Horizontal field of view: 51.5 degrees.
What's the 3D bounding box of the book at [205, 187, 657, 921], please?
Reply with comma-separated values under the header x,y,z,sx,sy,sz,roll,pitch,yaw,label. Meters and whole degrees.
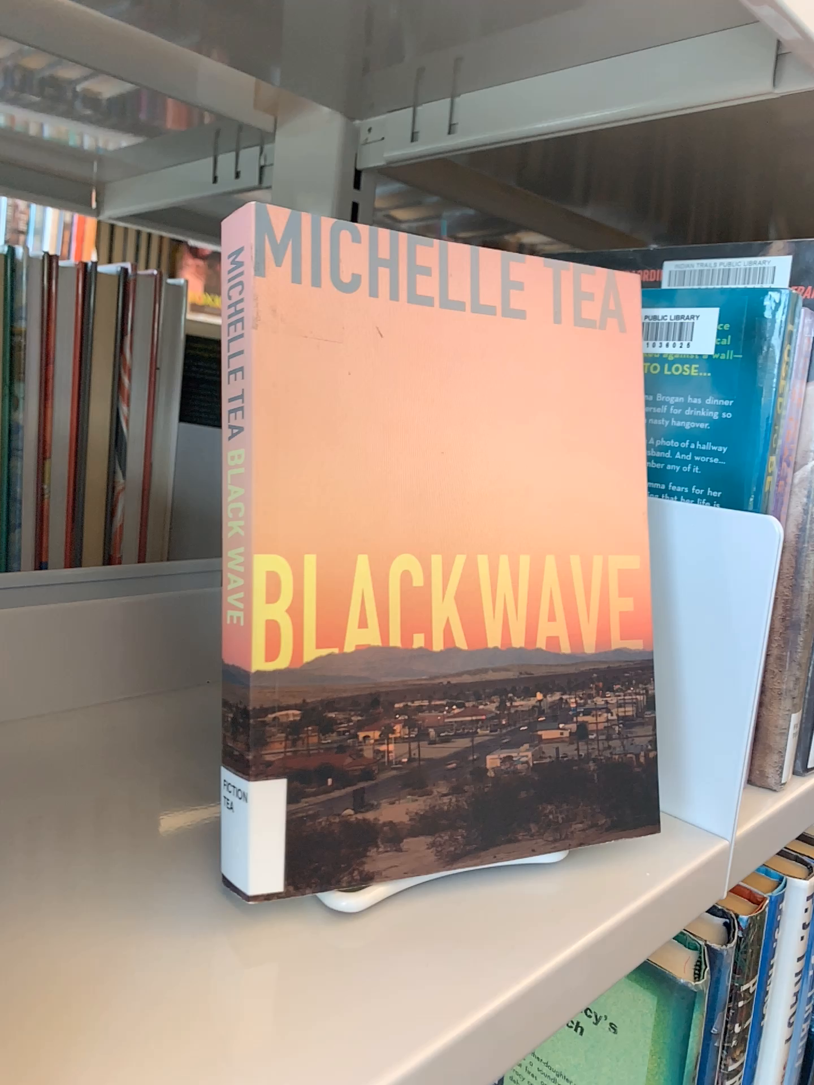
x,y,z,sx,sy,sz,roll,pitch,yaw,label
0.013,0.003,0.278,0.147,0.201,0.036,1,-2,-25,book
